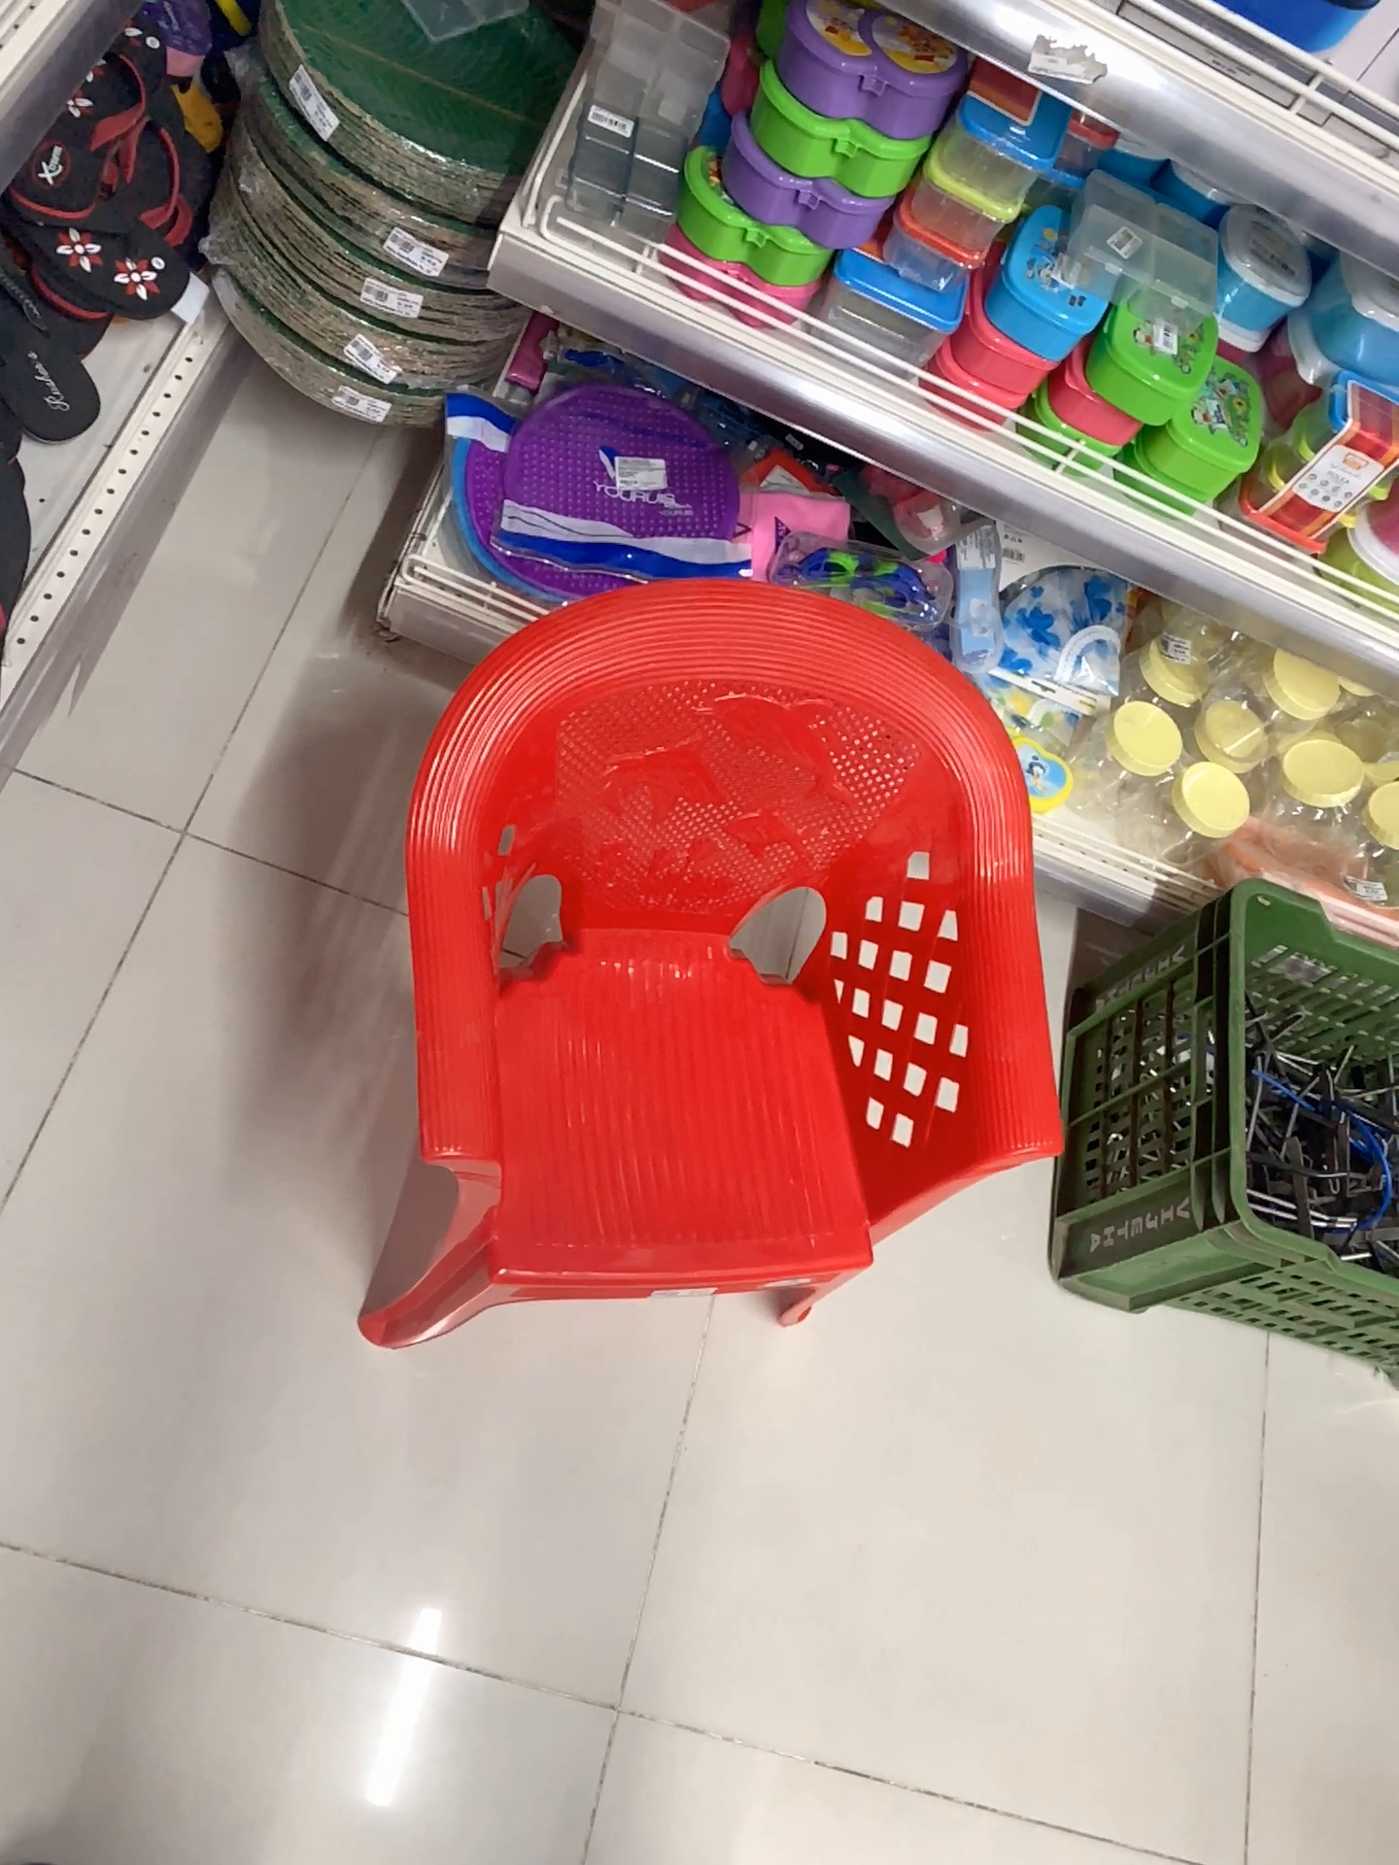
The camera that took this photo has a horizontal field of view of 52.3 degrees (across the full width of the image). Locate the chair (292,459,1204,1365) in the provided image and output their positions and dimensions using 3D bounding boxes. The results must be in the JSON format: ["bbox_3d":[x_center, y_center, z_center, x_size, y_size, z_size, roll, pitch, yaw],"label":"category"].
[{"bbox_3d":[-0.023,0.038,1.088,0.501,0.479,0.490,4,66,-19],"label":"chair"}]
